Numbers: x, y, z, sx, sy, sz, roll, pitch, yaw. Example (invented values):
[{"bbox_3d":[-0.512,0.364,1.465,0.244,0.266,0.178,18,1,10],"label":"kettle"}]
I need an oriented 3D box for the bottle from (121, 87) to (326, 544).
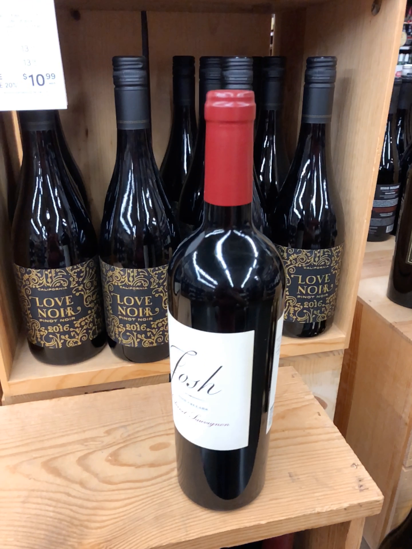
[{"bbox_3d":[0.010,0.033,0.312,0.080,0.293,0.080,0,25,0],"label":"bottle"}]
